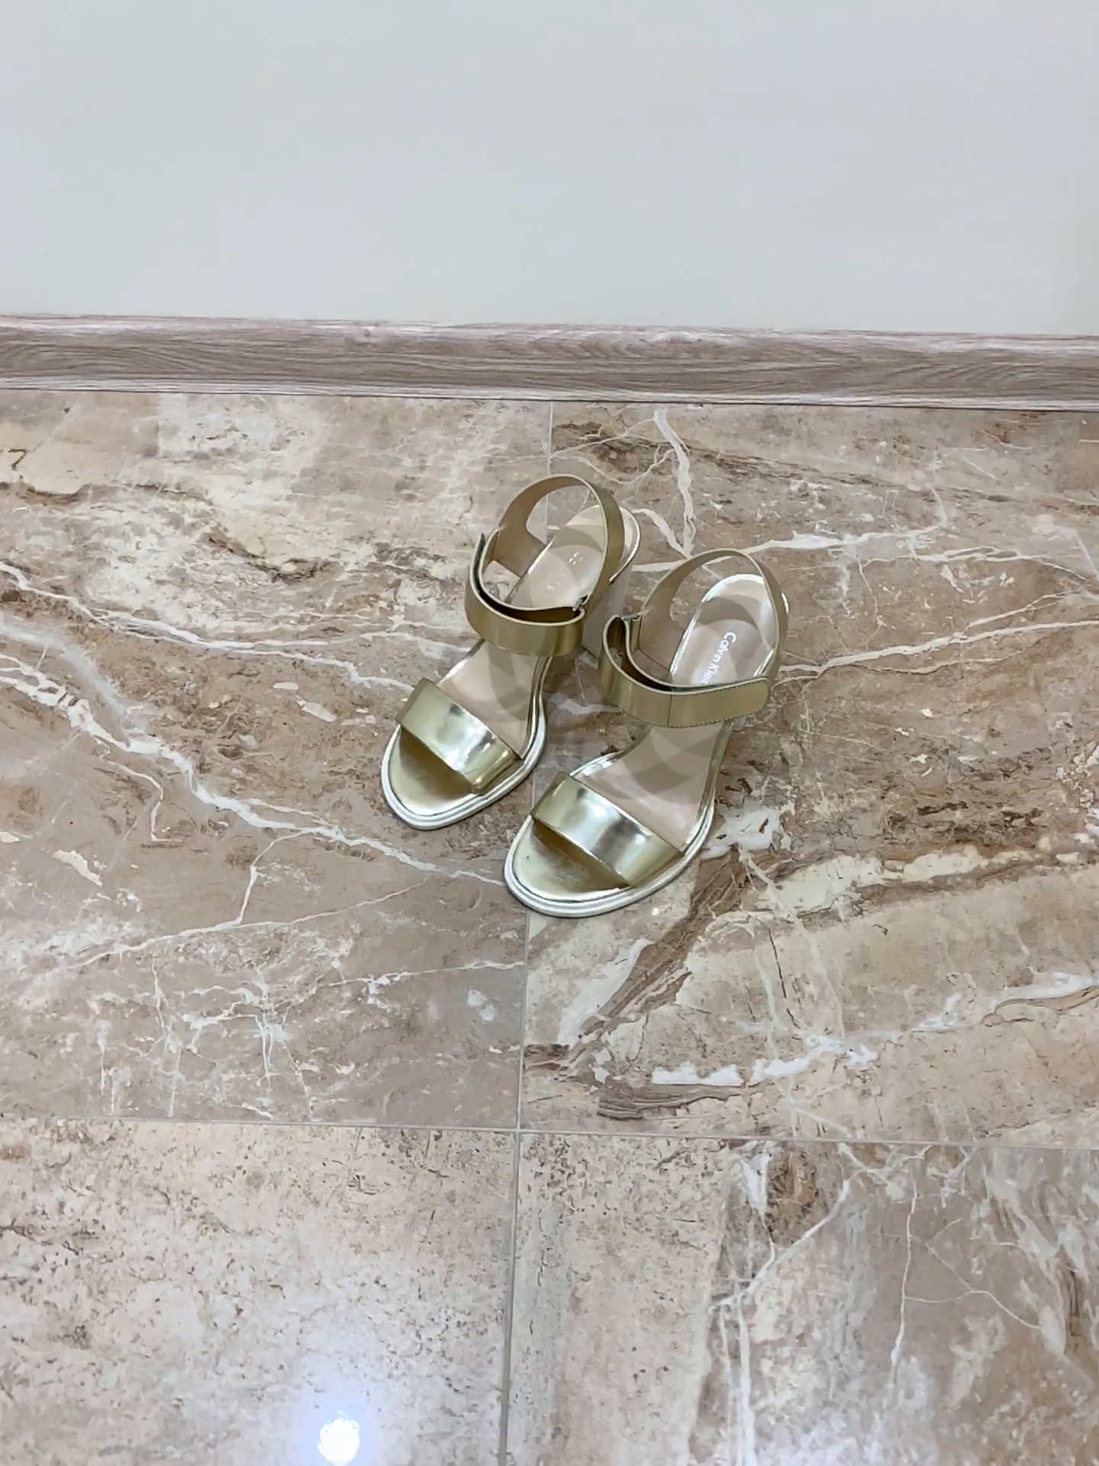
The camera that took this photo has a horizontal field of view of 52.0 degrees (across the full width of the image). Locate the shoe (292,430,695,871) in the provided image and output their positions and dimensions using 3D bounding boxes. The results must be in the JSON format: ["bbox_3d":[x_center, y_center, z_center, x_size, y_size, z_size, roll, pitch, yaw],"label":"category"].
[{"bbox_3d":[-0.025,-0.052,0.660,0.095,0.129,0.221,34,59,22],"label":"shoe"}]

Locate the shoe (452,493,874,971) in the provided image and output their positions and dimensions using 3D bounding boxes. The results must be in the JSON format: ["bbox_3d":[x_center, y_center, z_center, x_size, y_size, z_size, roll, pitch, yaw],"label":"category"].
[{"bbox_3d":[0.064,-0.006,0.624,0.100,0.119,0.231,33,59,22],"label":"shoe"}]
